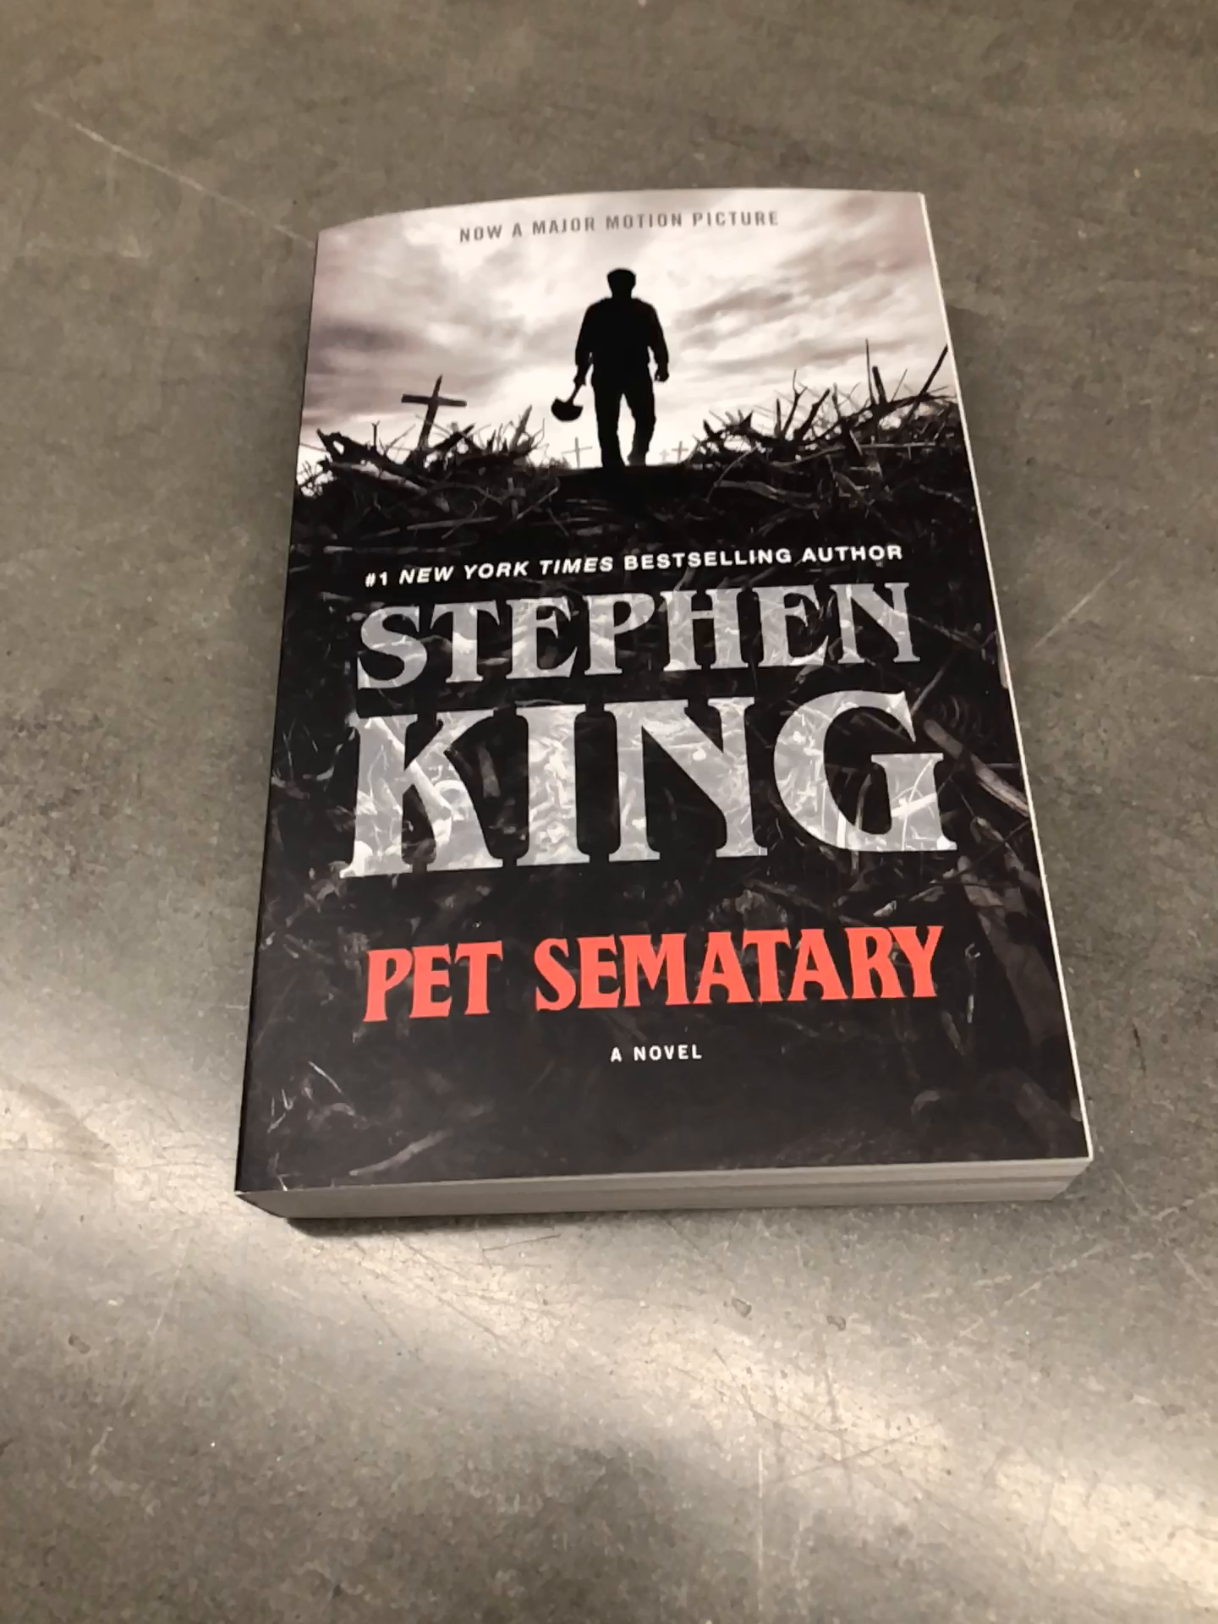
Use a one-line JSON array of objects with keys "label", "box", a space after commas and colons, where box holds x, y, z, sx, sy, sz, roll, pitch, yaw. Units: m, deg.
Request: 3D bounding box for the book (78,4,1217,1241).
[{"label": "book", "box": [0.003, -0.041, 0.247, 0.160, 0.050, 0.221, -2, 70, 1]}]
